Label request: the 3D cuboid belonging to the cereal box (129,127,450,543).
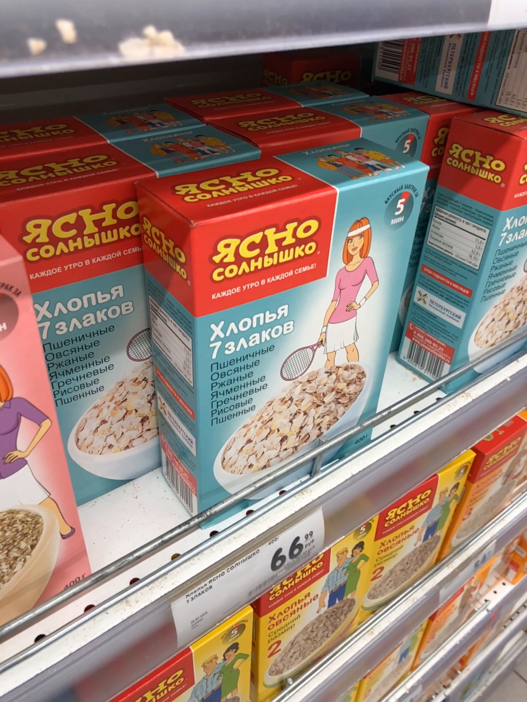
[{"bbox_3d":[0.013,-0.007,0.313,0.140,0.189,0.050,-22,43,-29],"label":"cereal box"}]
